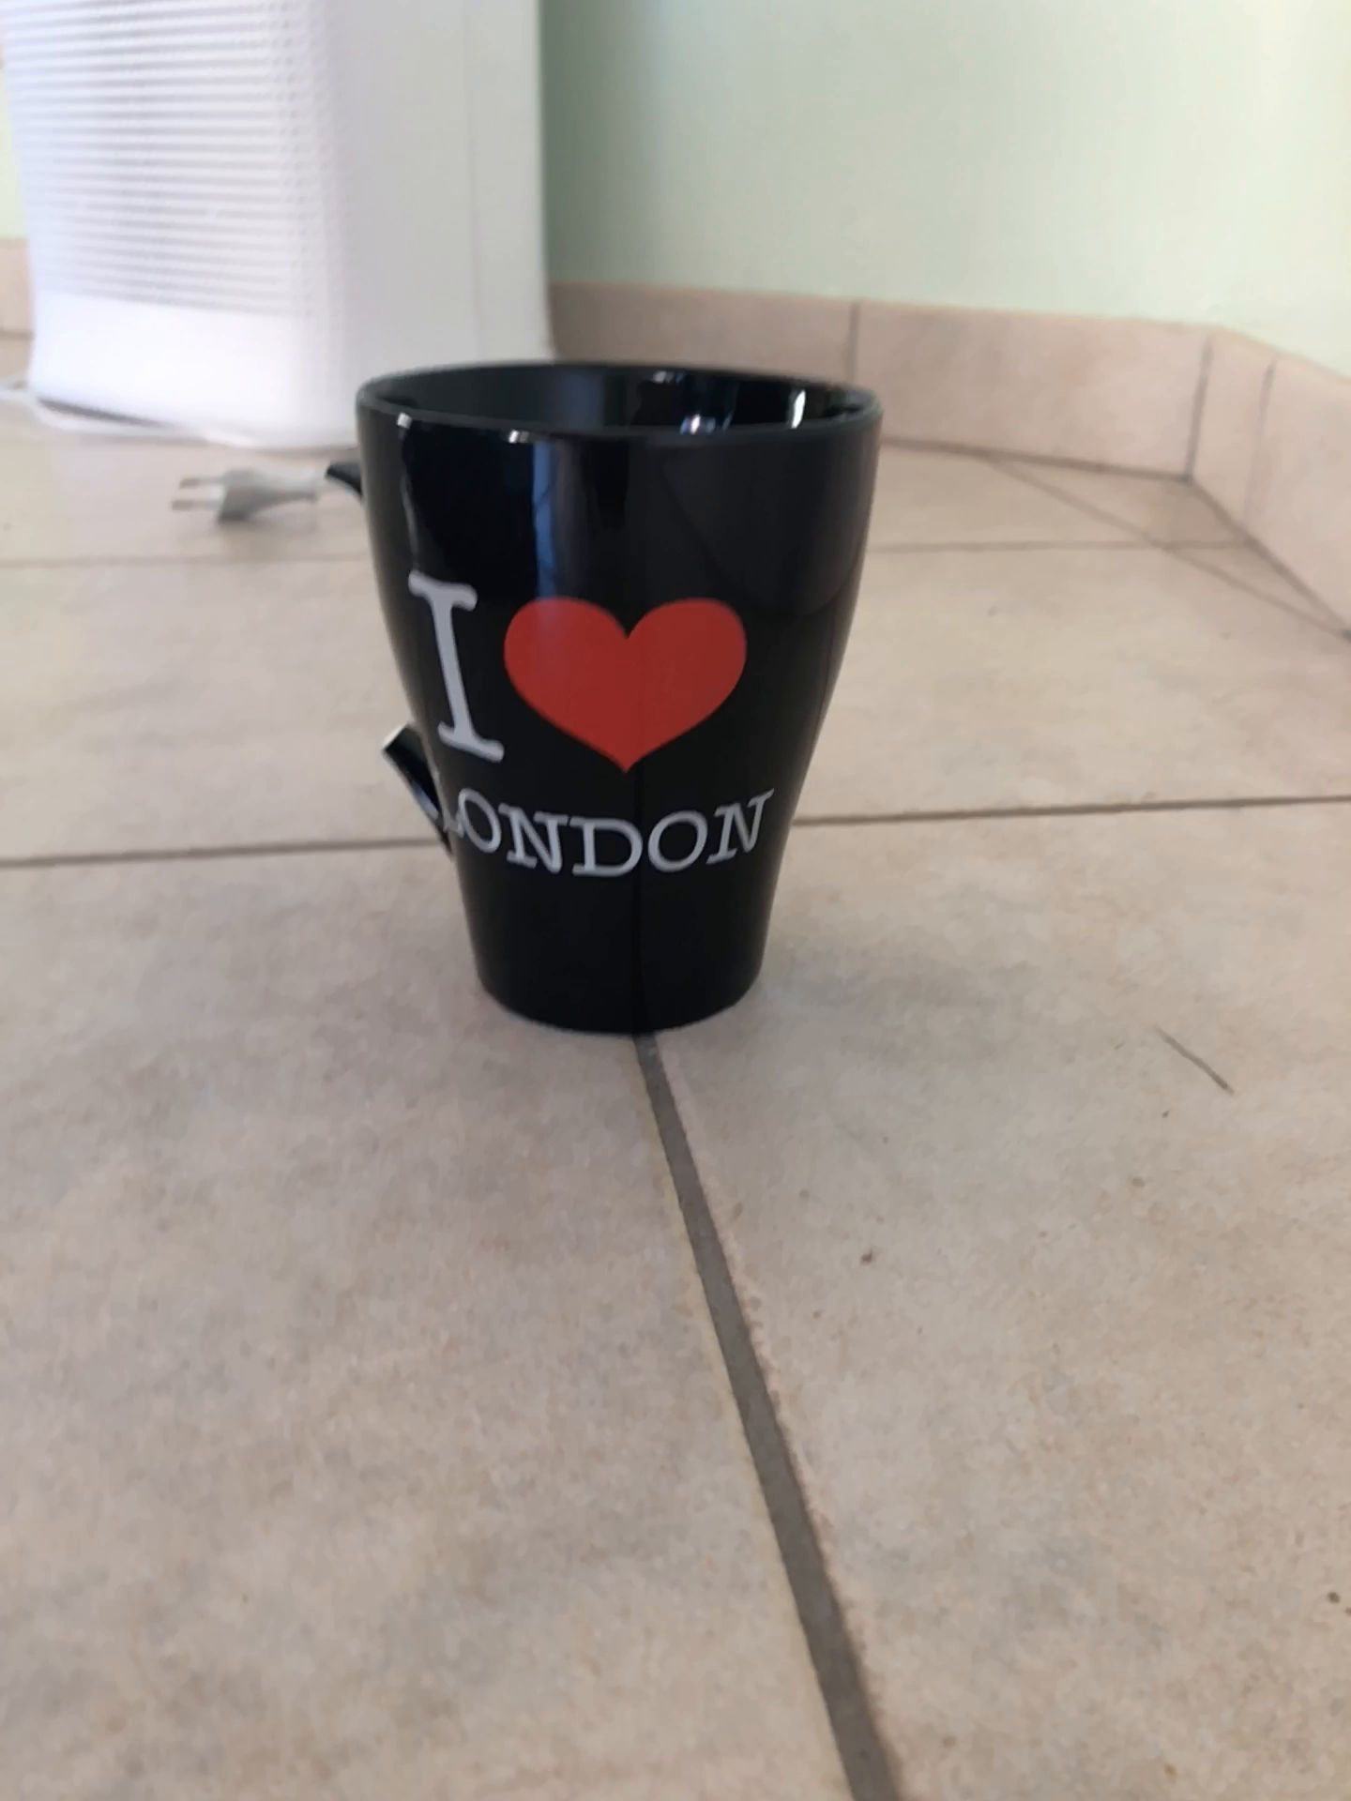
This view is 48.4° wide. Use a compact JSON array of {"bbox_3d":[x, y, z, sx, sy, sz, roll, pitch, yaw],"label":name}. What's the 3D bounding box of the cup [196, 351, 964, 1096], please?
[{"bbox_3d":[-0.009,-0.041,0.281,0.108,0.103,0.098,1,25,0],"label":"cup"}]
